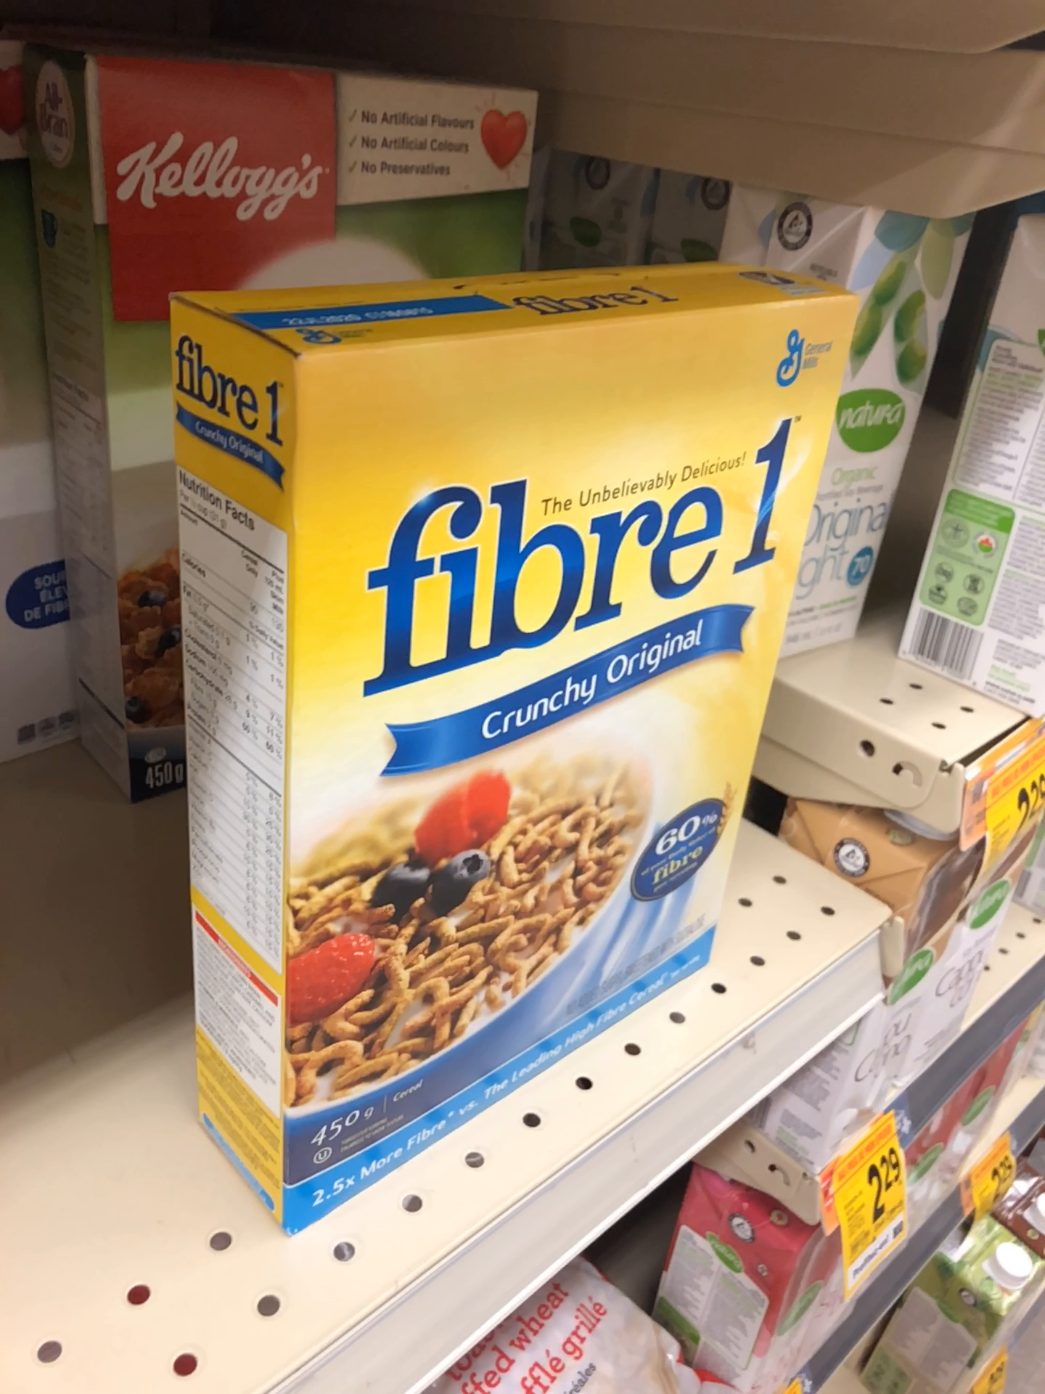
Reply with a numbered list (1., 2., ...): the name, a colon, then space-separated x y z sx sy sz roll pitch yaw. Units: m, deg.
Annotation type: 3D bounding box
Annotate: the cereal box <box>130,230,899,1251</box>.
1. cereal box: -0.001 0.005 0.359 0.211 0.268 0.060 -20 39 -39
